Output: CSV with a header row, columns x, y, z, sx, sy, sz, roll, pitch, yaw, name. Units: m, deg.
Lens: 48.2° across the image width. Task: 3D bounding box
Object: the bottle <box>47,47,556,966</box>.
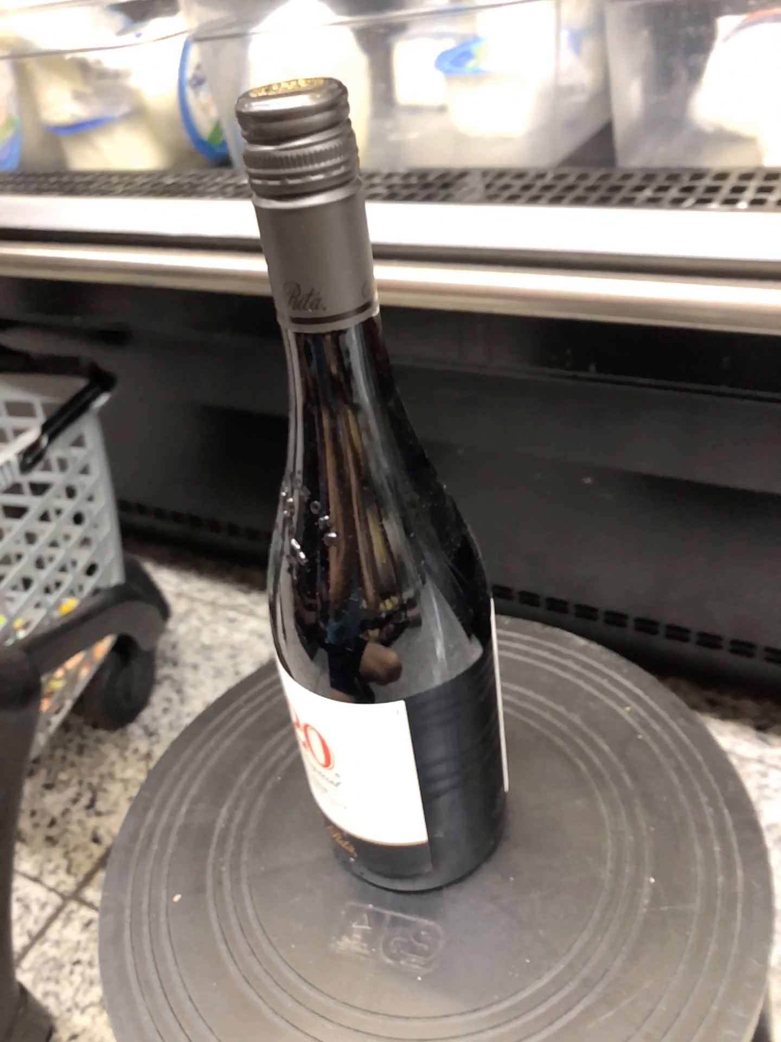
x,y,z,sx,sy,sz,roll,pitch,yaw,name
-0.012,0.014,0.293,0.090,0.288,0.091,-6,36,5,bottle
